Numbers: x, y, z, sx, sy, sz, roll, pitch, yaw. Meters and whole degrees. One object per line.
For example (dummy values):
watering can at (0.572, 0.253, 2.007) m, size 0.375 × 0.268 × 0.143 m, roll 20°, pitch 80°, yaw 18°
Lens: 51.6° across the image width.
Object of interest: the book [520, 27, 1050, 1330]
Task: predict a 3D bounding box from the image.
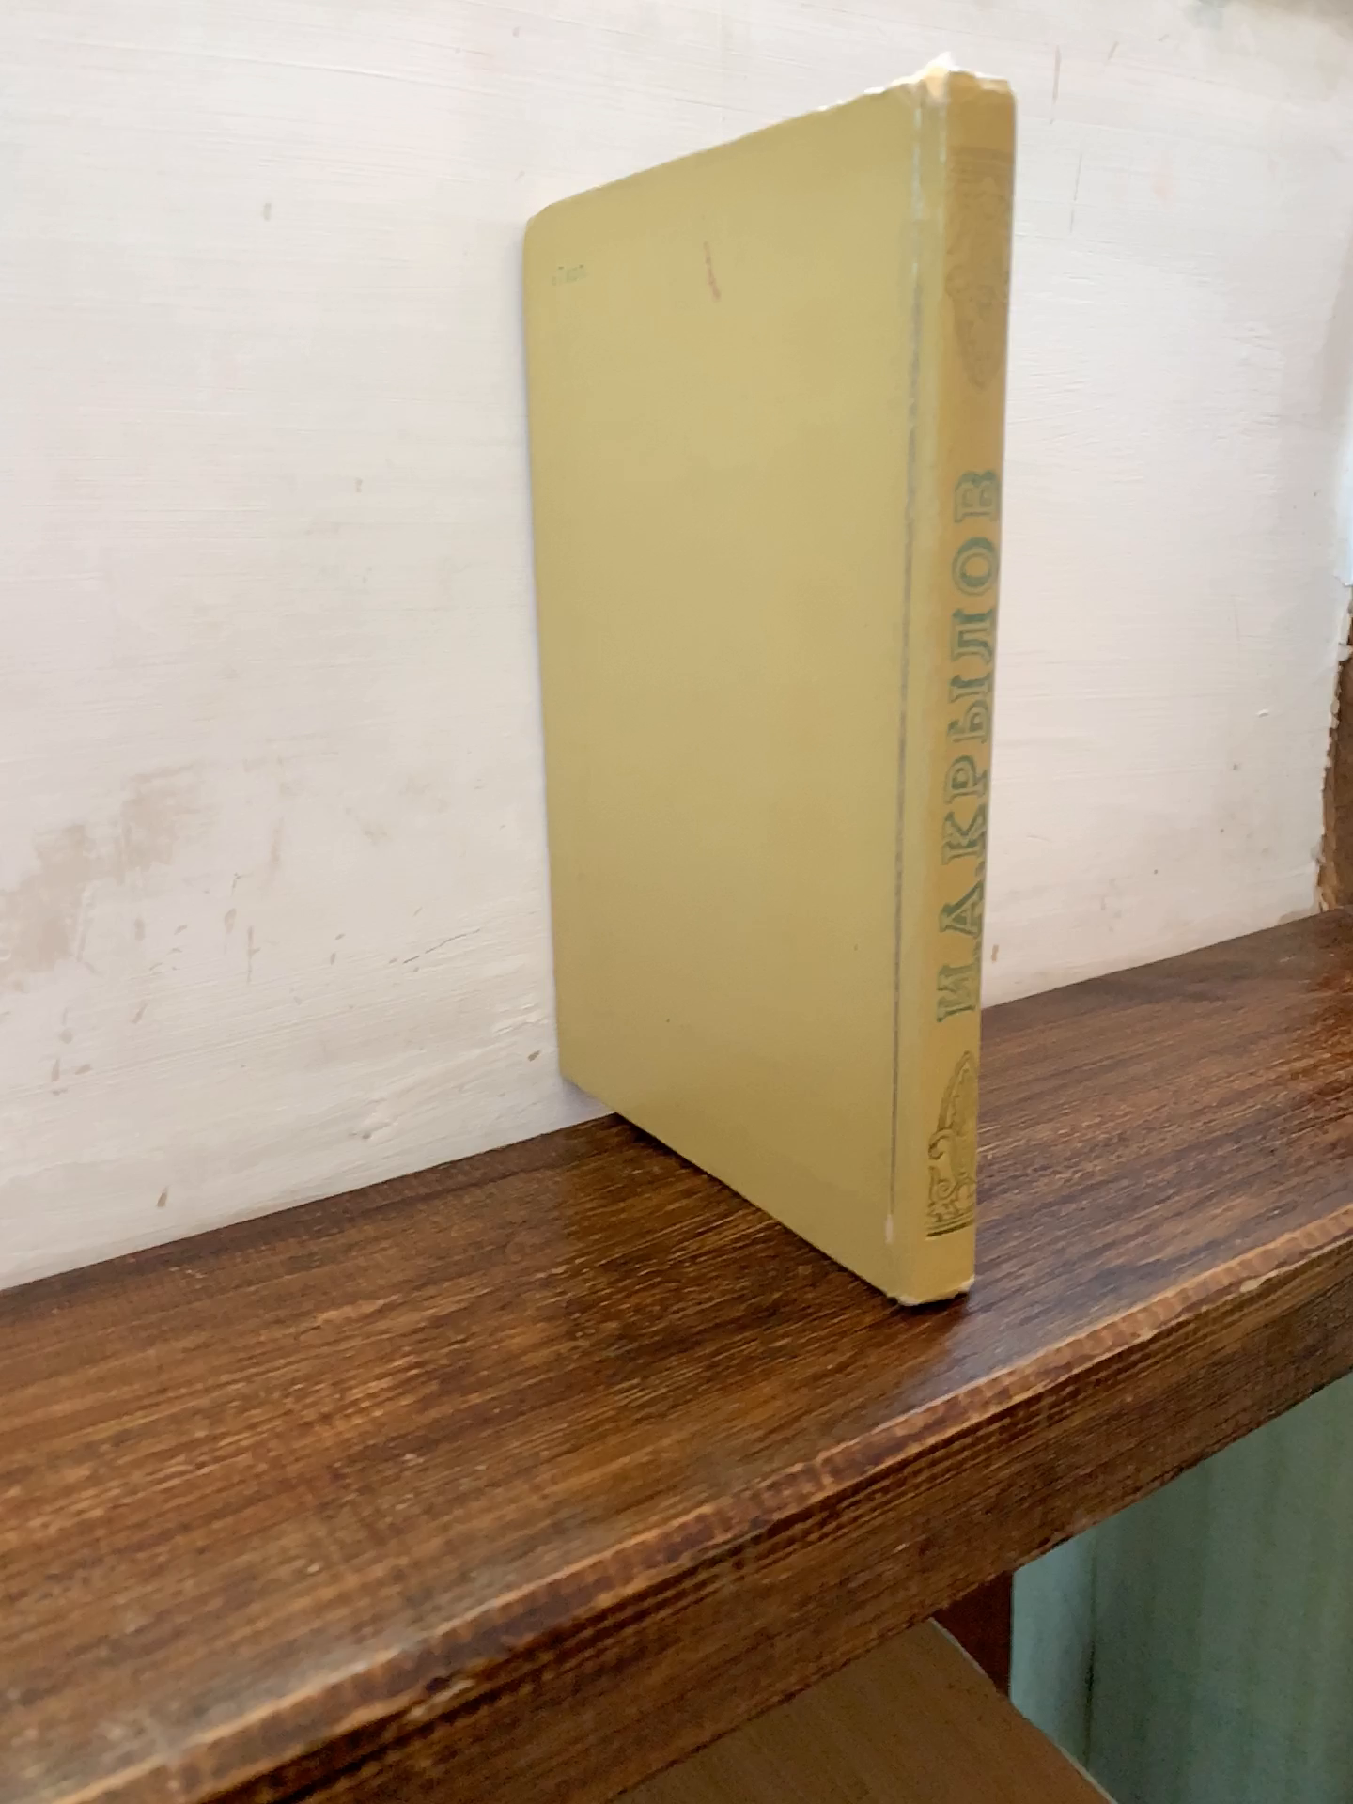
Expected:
book at (0.013, -0.039, 0.281) m, size 0.020 × 0.205 × 0.132 m, roll -11°, pitch 18°, yaw -32°
